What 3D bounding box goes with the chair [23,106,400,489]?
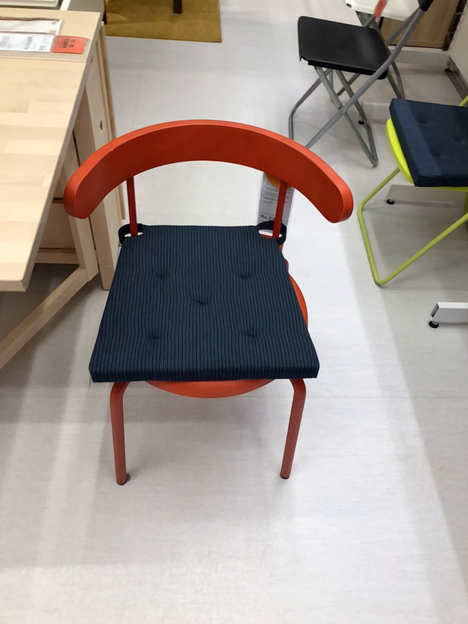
[{"bbox_3d":[-0.063,0.006,1.128,0.520,0.676,0.503,0,51,-6],"label":"chair"}]
